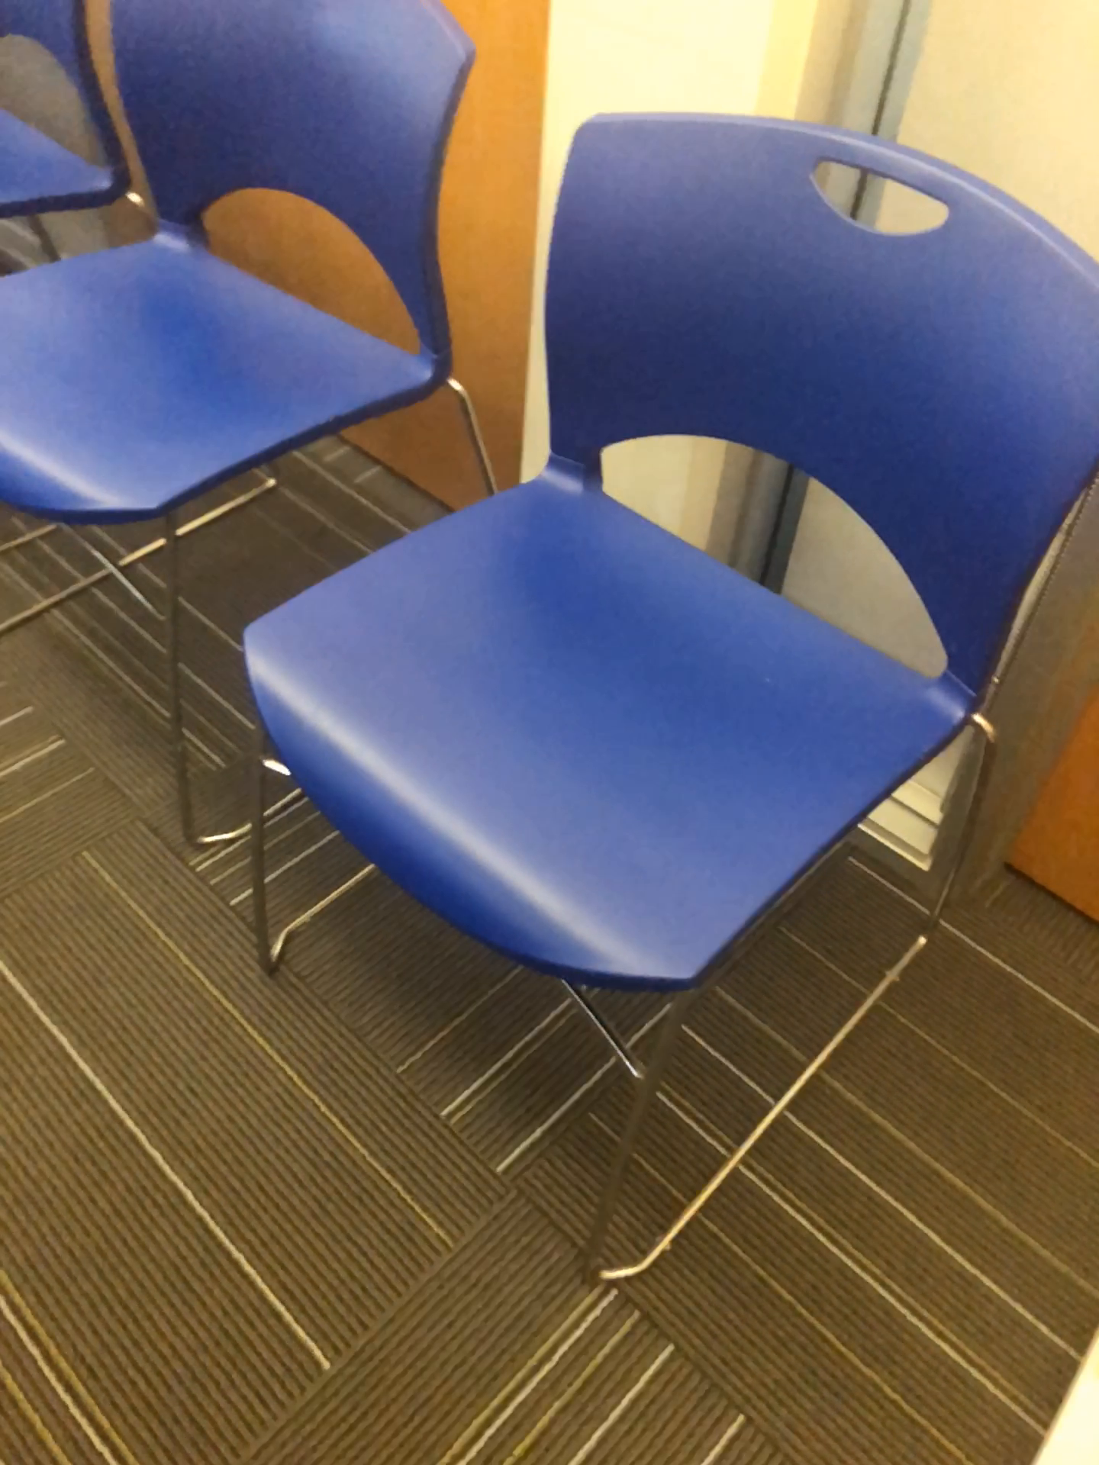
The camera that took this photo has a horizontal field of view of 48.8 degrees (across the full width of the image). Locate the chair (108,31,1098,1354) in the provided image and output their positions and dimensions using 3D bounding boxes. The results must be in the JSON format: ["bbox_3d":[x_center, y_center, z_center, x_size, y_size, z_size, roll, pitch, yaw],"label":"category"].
[{"bbox_3d":[0.111,-0.042,1.019,0.541,0.774,0.594,36,52,27],"label":"chair"}]

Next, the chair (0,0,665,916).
[{"bbox_3d":[-0.324,-0.379,1.381,0.521,0.853,0.634,35,52,26],"label":"chair"}]
